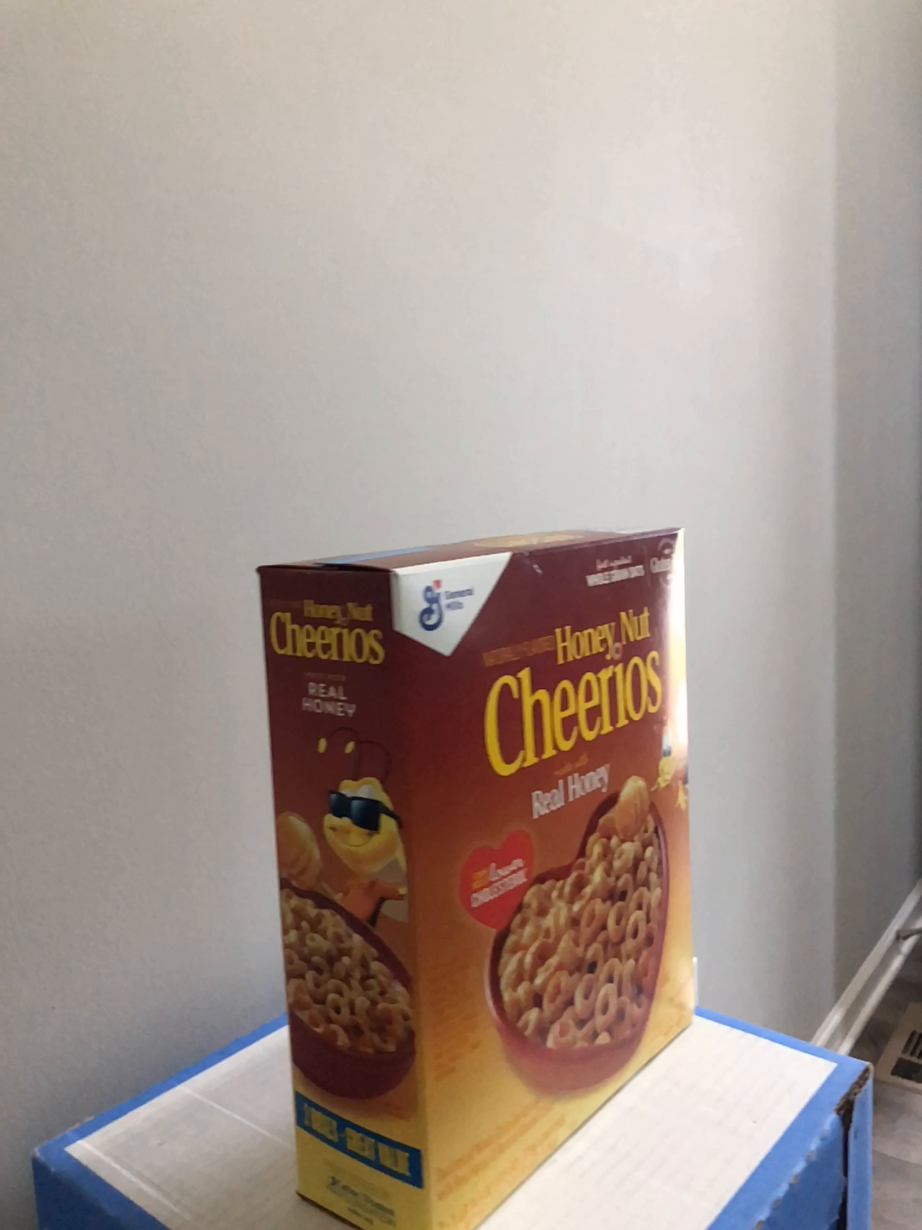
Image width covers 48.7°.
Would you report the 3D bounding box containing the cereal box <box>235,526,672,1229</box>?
[{"bbox_3d":[0.015,0.117,0.529,0.080,0.310,0.240,3,9,38],"label":"cereal box"}]
